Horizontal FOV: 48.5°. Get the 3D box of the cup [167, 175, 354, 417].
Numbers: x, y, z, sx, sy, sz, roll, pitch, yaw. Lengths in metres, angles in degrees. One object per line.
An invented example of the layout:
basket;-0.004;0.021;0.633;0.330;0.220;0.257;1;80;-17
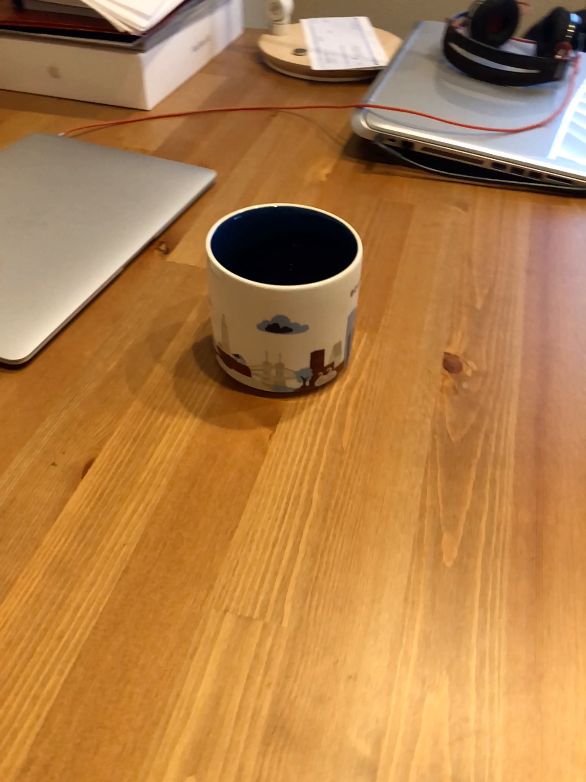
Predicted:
cup;-0.015;-0.067;0.429;0.100;0.090;0.141;2;44;1
